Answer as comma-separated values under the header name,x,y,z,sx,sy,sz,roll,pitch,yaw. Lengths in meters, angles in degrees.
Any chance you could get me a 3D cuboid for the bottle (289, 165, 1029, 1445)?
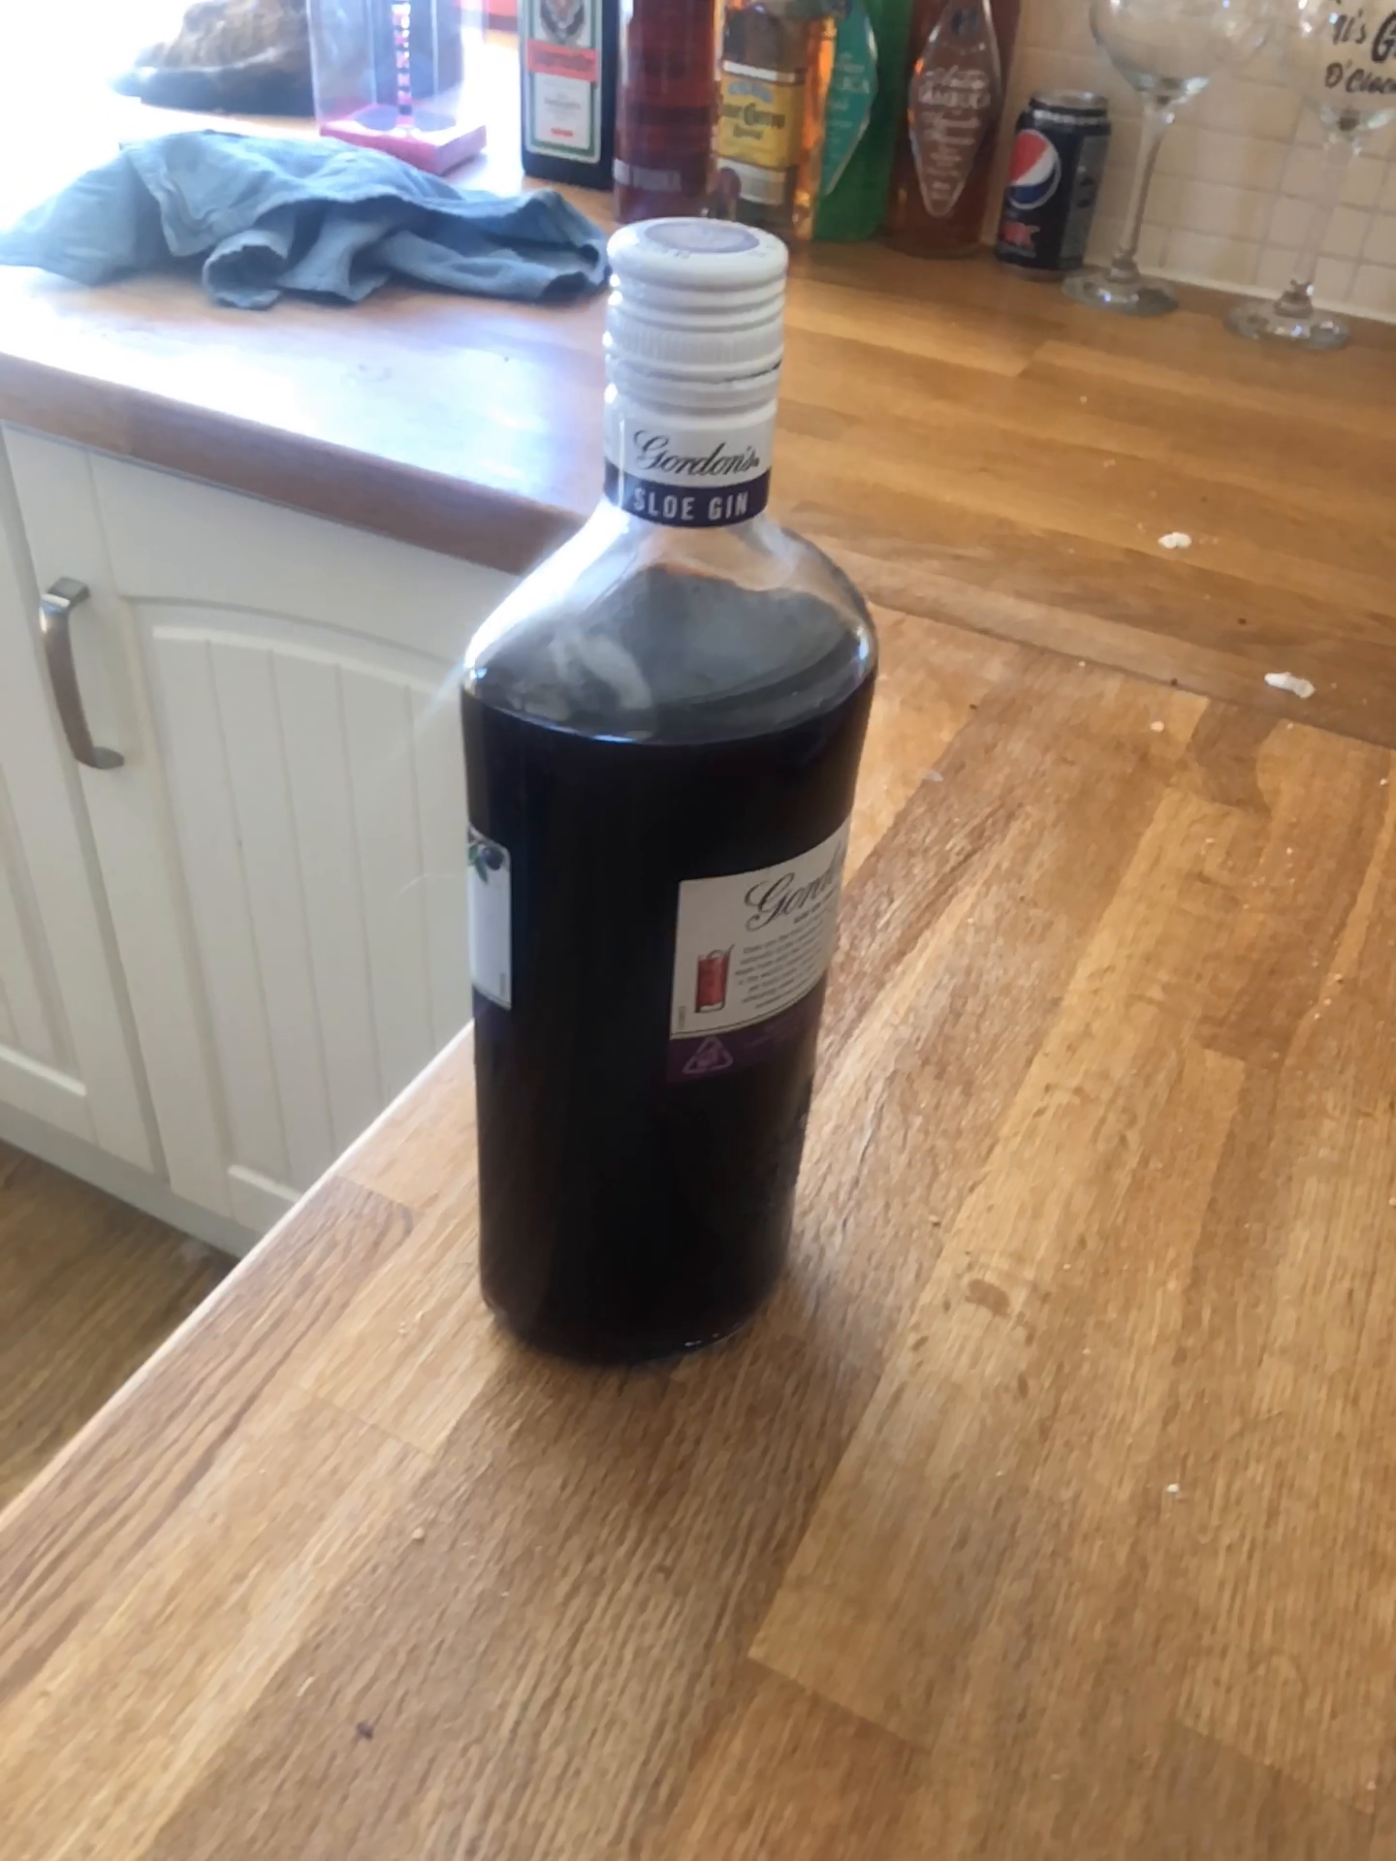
name,x,y,z,sx,sy,sz,roll,pitch,yaw
bottle,-0.009,-0.017,0.327,0.080,0.238,0.101,24,42,23
